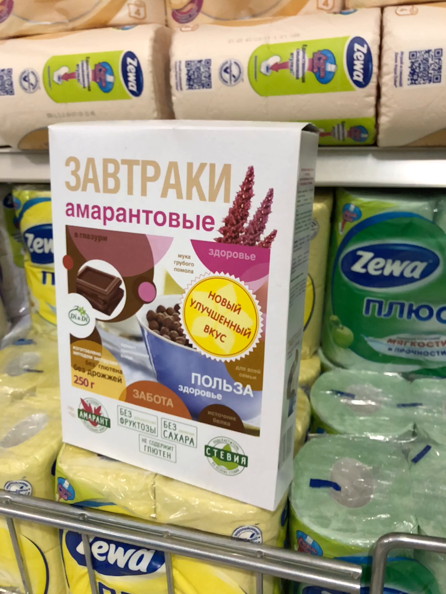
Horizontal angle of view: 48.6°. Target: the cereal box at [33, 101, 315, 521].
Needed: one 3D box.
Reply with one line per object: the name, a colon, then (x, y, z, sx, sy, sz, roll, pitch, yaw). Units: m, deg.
cereal box: (-0.041, 0.005, 0.365, 0.190, 0.269, 0.050, 8, 15, 24)
